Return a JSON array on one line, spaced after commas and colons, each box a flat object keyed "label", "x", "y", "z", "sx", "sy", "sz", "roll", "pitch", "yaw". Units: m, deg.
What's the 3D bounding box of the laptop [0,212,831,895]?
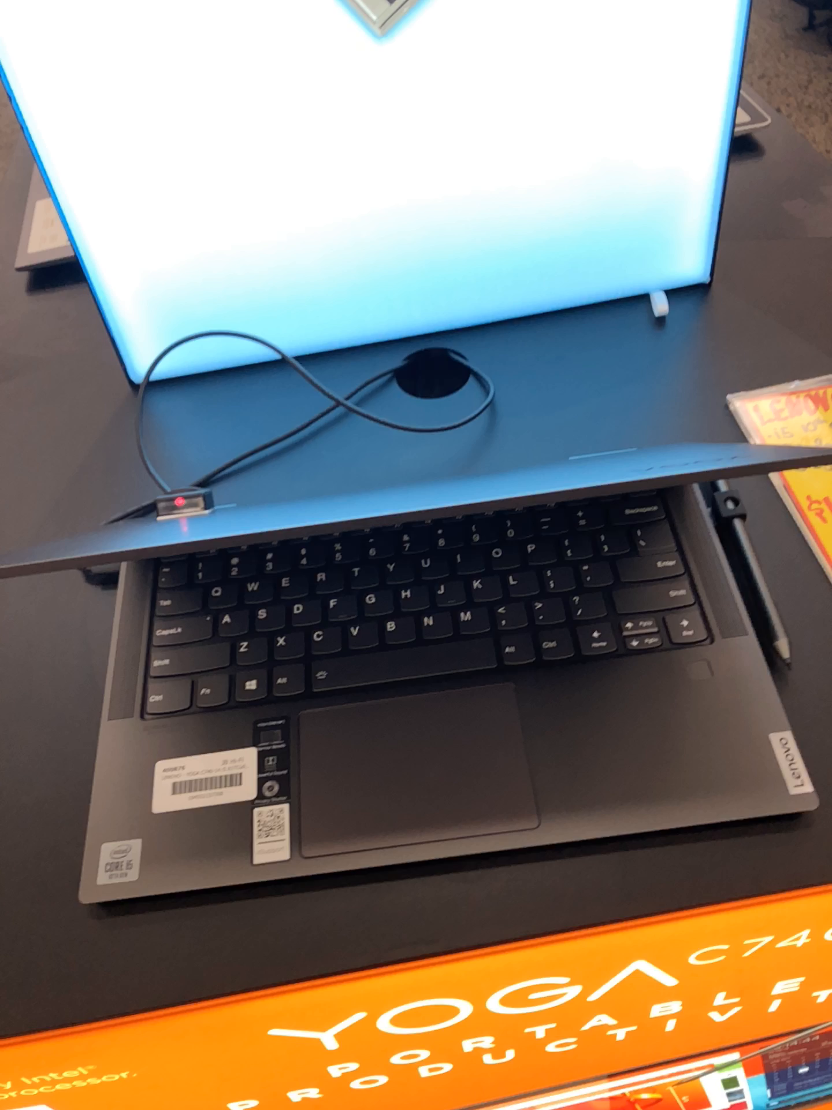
[{"label": "laptop", "x": -0.002, "y": -0.003, "z": 0.404, "sx": 0.319, "sy": 0.144, "sz": 0.210, "roll": -8, "pitch": 50, "yaw": 2}]
